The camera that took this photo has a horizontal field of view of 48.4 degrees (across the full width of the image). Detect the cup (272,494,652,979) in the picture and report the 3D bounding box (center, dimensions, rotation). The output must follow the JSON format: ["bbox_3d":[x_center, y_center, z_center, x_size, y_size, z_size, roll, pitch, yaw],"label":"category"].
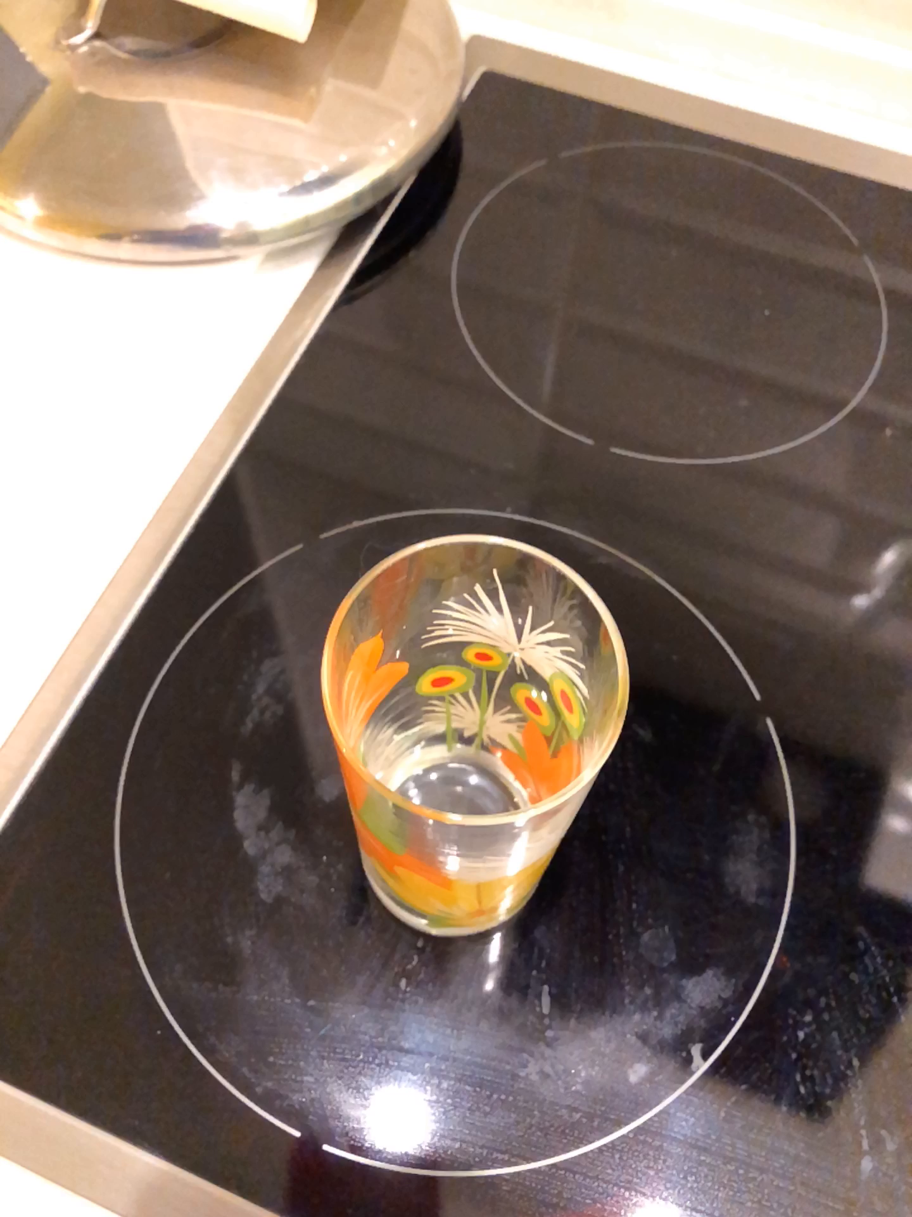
[{"bbox_3d":[0.002,0.043,0.261,0.062,0.139,0.067,1,62,-2],"label":"cup"}]
